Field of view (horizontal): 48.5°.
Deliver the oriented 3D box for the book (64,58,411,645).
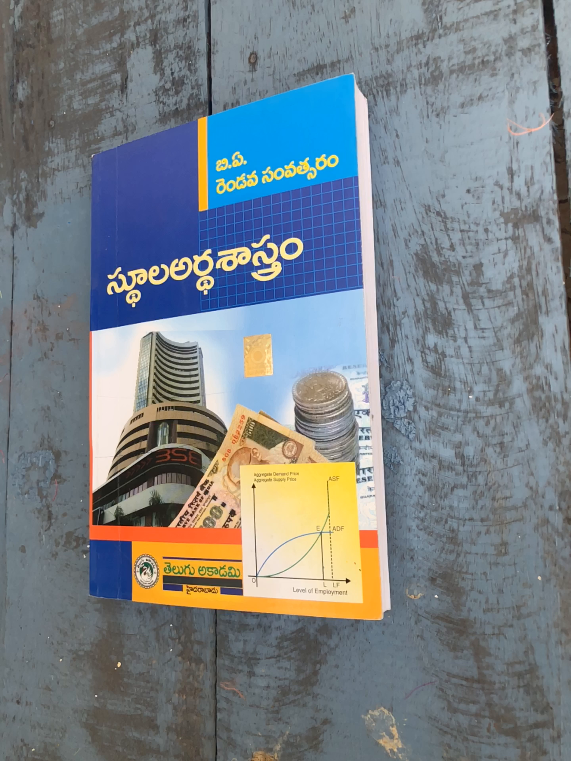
[{"bbox_3d":[-0.033,-0.010,0.317,0.170,0.030,0.250,-5,85,25],"label":"book"}]
